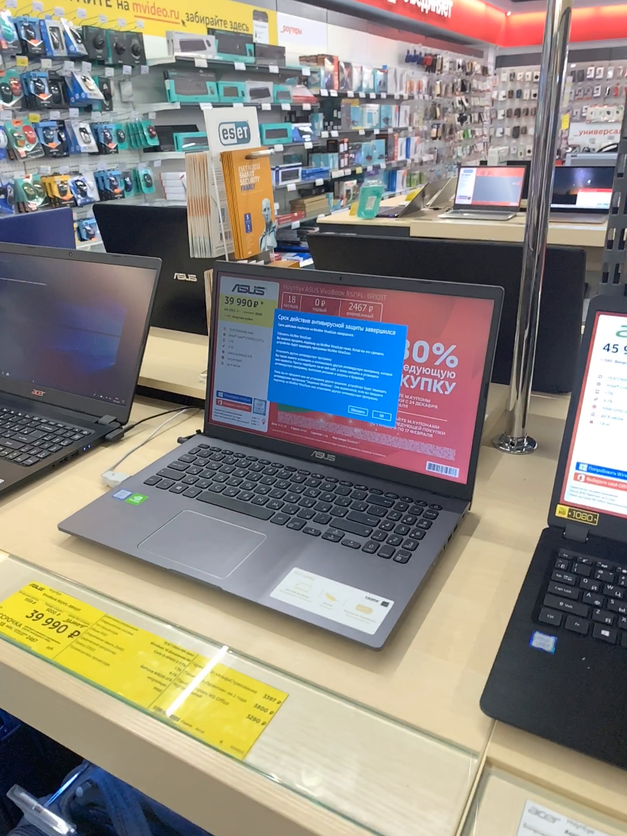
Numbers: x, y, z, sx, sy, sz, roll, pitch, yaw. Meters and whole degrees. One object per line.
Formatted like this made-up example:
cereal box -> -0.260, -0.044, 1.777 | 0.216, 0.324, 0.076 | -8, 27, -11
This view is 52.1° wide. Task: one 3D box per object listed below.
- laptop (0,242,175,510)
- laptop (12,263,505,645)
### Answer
laptop -> -0.460, -0.094, 0.881 | 0.350, 0.214, 0.362 | 12, 27, 27
laptop -> -0.036, -0.010, 0.657 | 0.366, 0.217, 0.298 | 11, 27, 27
